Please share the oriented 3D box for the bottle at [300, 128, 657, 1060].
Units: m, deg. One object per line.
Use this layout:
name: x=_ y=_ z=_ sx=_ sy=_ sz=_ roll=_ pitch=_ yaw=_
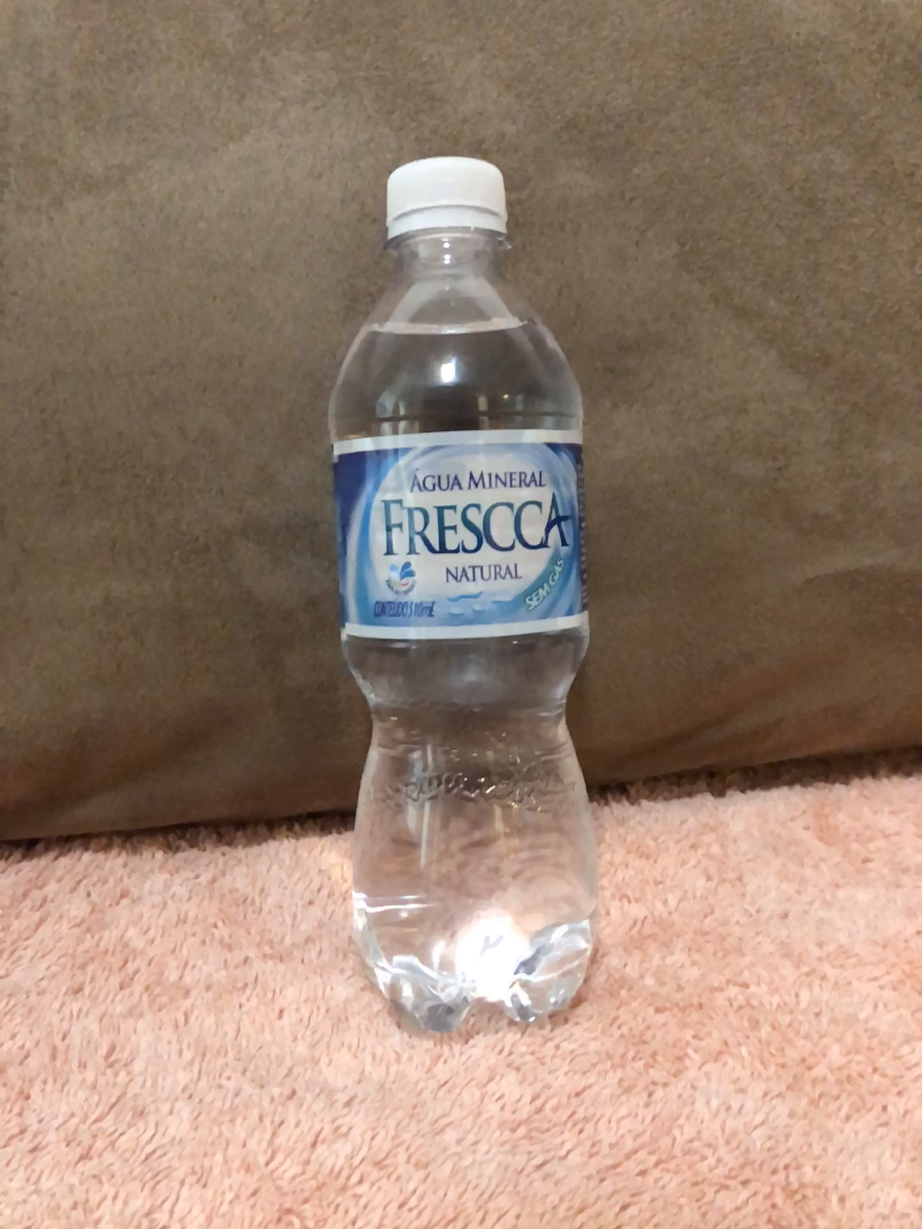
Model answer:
bottle: x=0.004 y=-0.005 z=0.275 sx=0.070 sy=0.210 sz=0.080 roll=-4 pitch=6 yaw=-3
